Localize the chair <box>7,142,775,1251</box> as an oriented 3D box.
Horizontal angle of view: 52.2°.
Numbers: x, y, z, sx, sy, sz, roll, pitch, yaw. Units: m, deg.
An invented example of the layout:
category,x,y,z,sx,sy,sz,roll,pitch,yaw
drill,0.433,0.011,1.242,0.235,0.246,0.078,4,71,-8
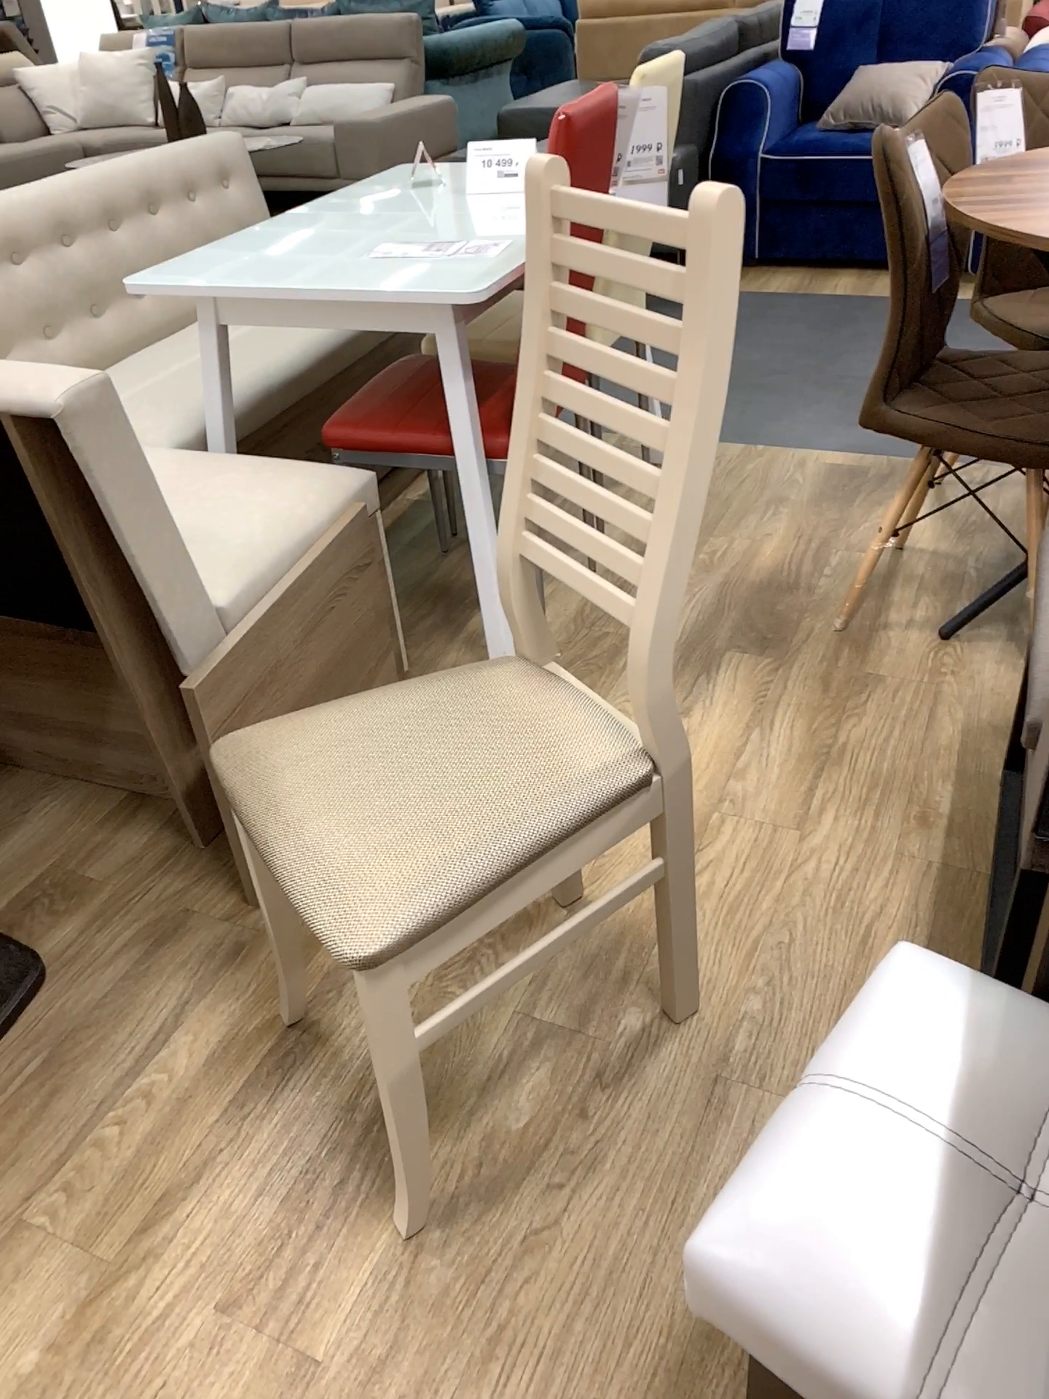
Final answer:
category,x,y,z,sx,sy,sz,roll,pitch,yaw
chair,-0.085,0.015,1.103,0.473,0.969,0.392,-23,38,-24
